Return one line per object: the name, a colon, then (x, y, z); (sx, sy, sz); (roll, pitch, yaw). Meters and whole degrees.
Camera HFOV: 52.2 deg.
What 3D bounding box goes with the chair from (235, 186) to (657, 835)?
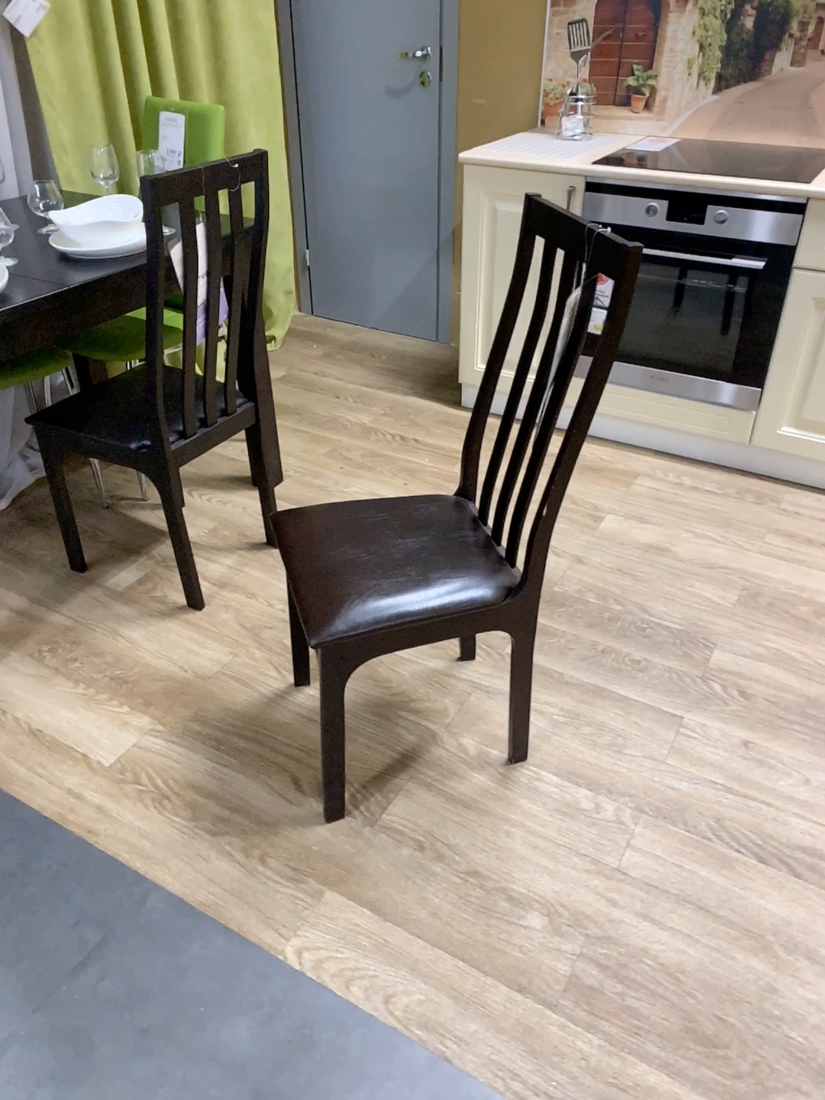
chair: (0.021, -0.050, 1.465); (0.490, 0.985, 0.422); (-10, 35, -13)
